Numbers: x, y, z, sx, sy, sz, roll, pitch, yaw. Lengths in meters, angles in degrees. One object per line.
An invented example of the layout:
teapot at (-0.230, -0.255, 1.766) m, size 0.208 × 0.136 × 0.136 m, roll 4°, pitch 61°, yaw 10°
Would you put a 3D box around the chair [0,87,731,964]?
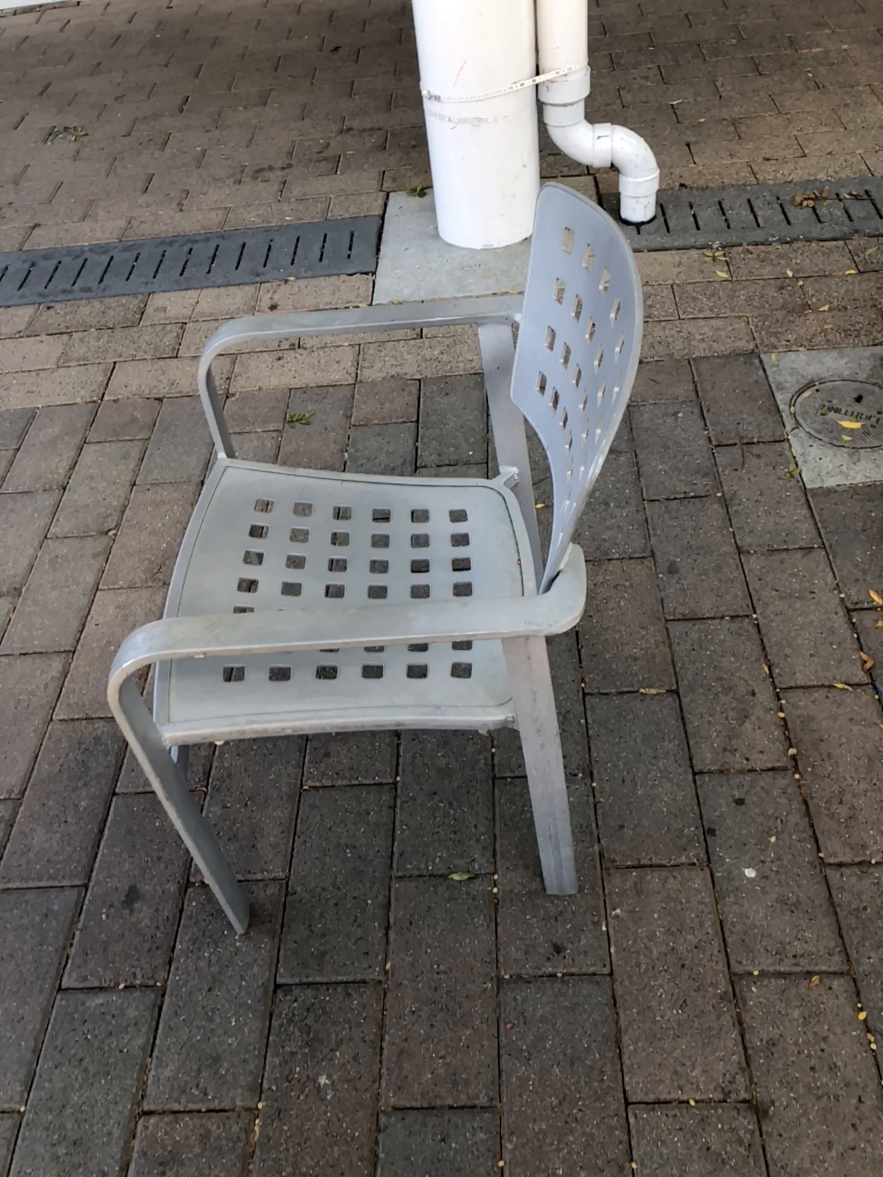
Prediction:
chair at (-0.091, -0.043, 1.147) m, size 0.590 × 0.776 × 0.633 m, roll -3°, pitch 46°, yaw 1°
